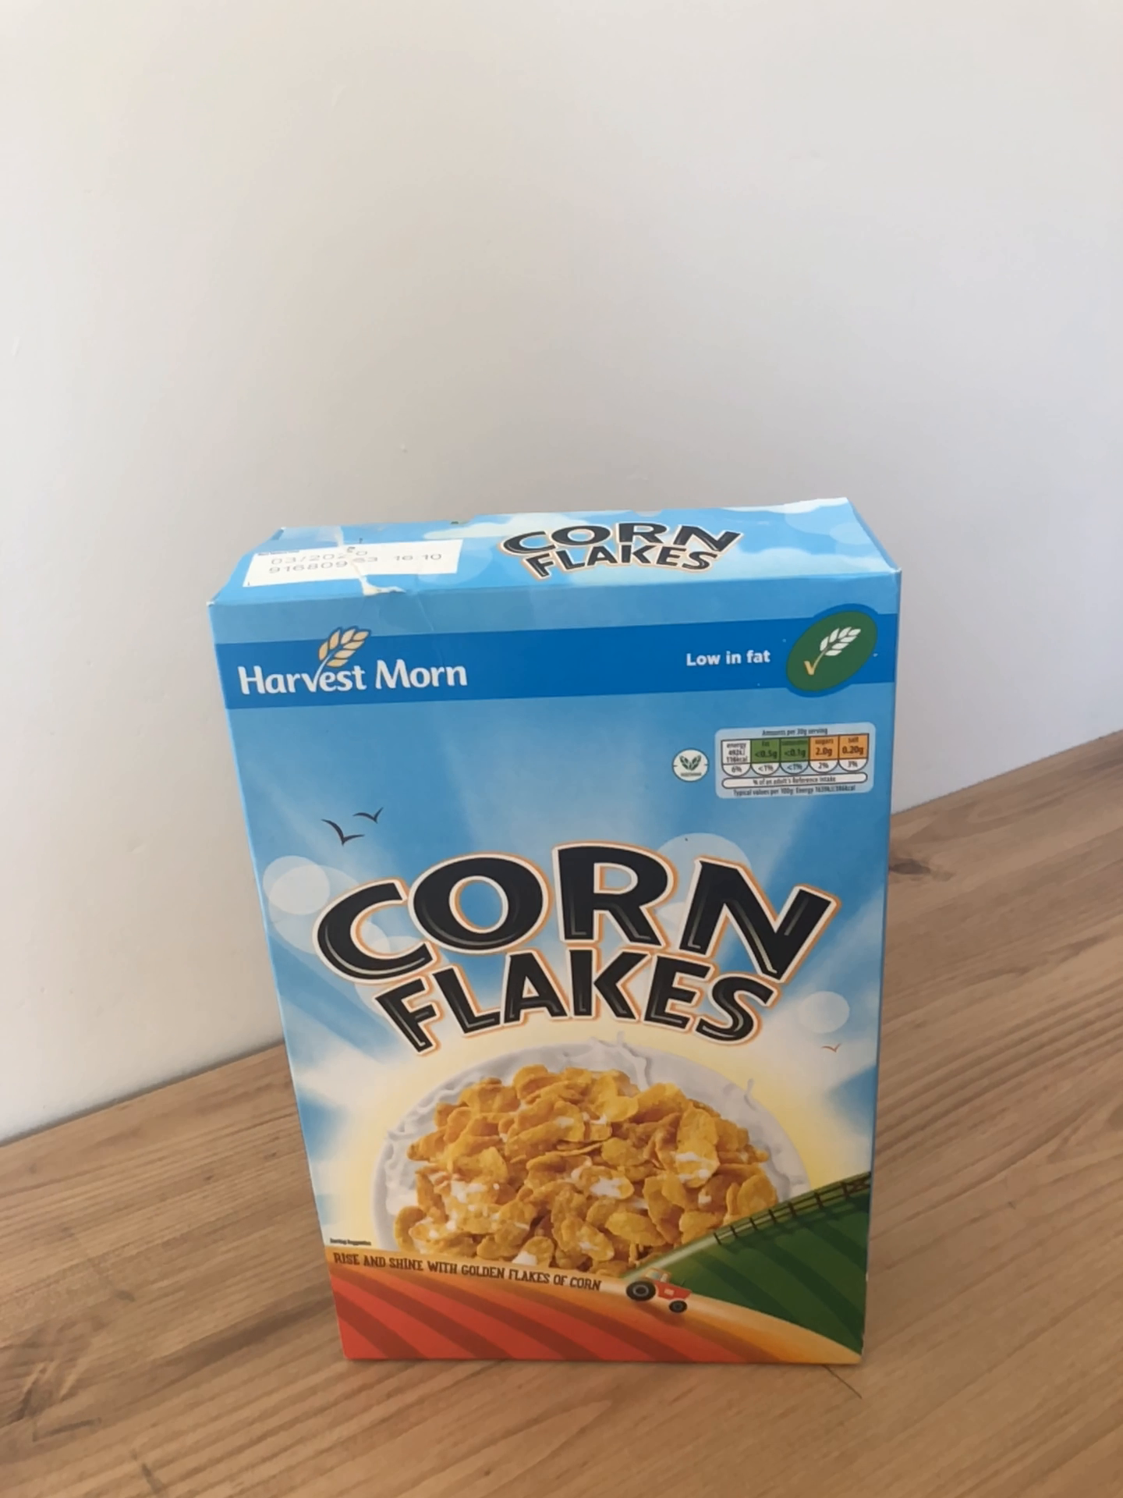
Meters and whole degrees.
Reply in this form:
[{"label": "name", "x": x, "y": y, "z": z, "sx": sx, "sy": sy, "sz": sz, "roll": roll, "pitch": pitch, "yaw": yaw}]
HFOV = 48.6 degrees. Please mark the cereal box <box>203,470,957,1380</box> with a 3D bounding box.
[{"label": "cereal box", "x": 0.014, "y": 0.072, "z": 0.427, "sx": 0.200, "sy": 0.308, "sz": 0.080, "roll": -1, "pitch": 24, "yaw": 5}]
